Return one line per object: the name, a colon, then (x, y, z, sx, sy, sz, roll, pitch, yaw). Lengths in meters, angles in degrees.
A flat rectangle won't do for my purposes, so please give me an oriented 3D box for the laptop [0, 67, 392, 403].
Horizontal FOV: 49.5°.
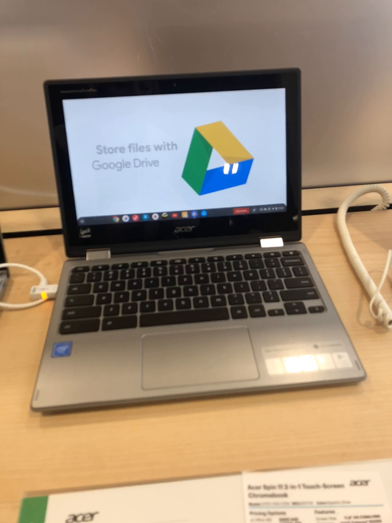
laptop: (-0.010, -0.053, 0.431, 0.287, 0.176, 0.297, -5, 40, -3)
